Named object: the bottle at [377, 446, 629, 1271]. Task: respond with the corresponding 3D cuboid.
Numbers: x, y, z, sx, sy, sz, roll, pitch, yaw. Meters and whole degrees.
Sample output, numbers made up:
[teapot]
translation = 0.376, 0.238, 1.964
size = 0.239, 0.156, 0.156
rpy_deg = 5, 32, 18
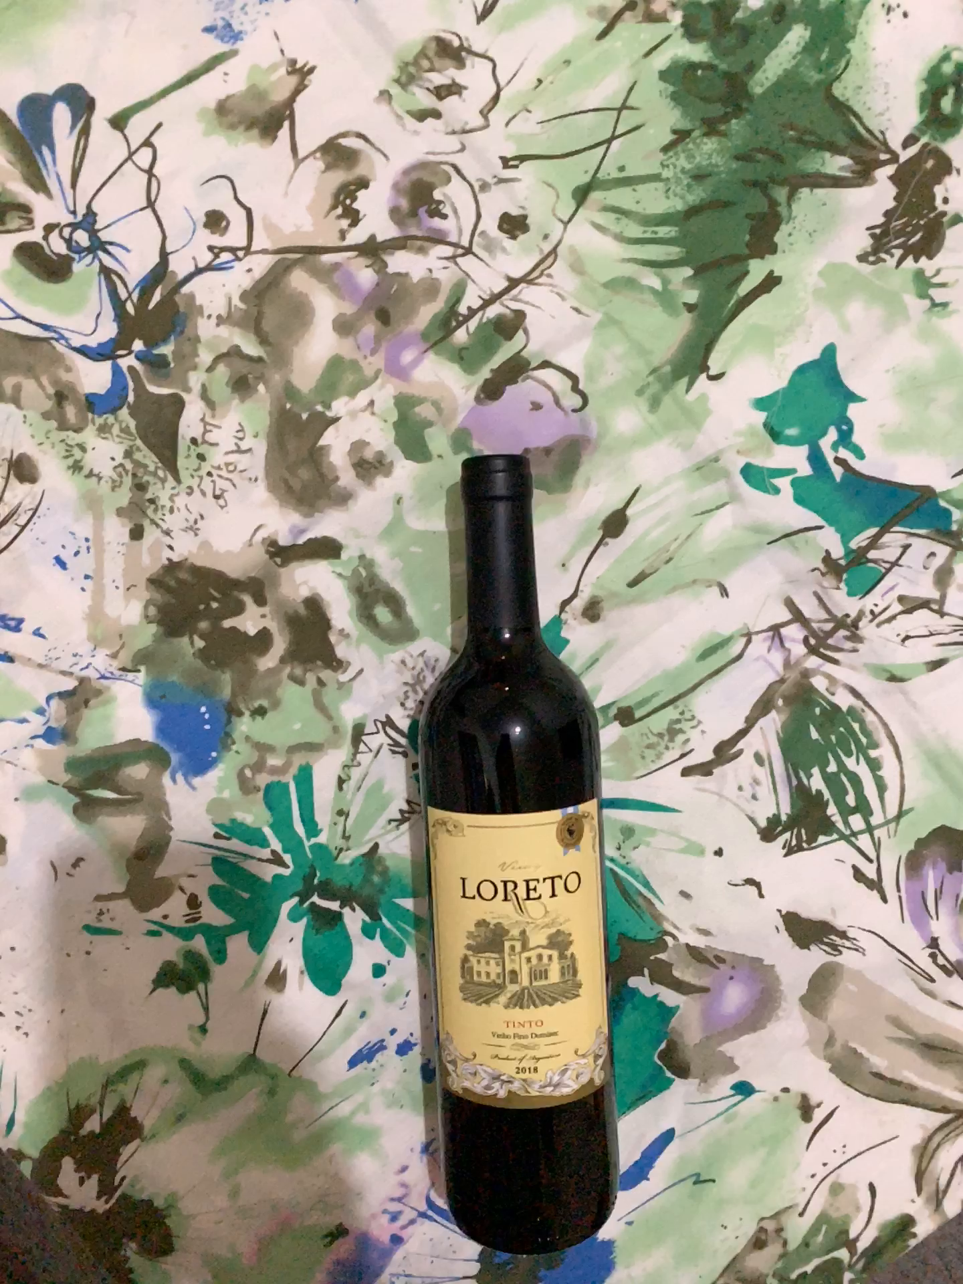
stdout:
[bottle]
translation = 0.009, 0.084, 0.392
size = 0.080, 0.050, 0.310
rpy_deg = -3, 96, -3
